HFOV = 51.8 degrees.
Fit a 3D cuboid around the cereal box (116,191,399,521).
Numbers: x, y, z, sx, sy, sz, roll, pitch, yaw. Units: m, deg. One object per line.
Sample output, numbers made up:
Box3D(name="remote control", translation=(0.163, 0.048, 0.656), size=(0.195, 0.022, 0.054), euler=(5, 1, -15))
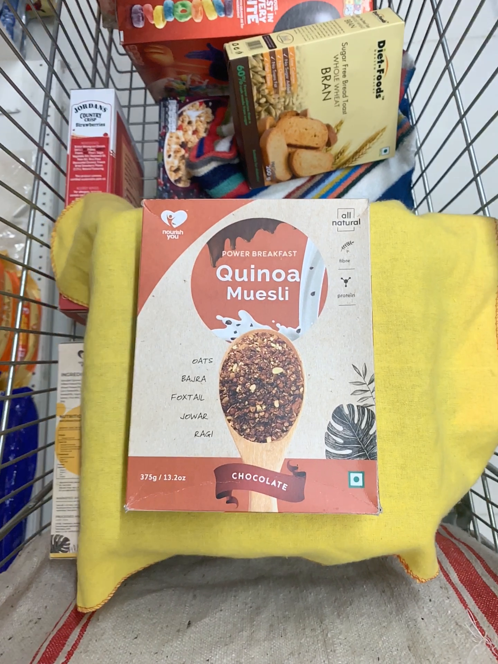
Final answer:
Box3D(name="cereal box", translation=(0.007, 0.014, 0.357), size=(0.170, 0.060, 0.210), euler=(0, 79, 3))
